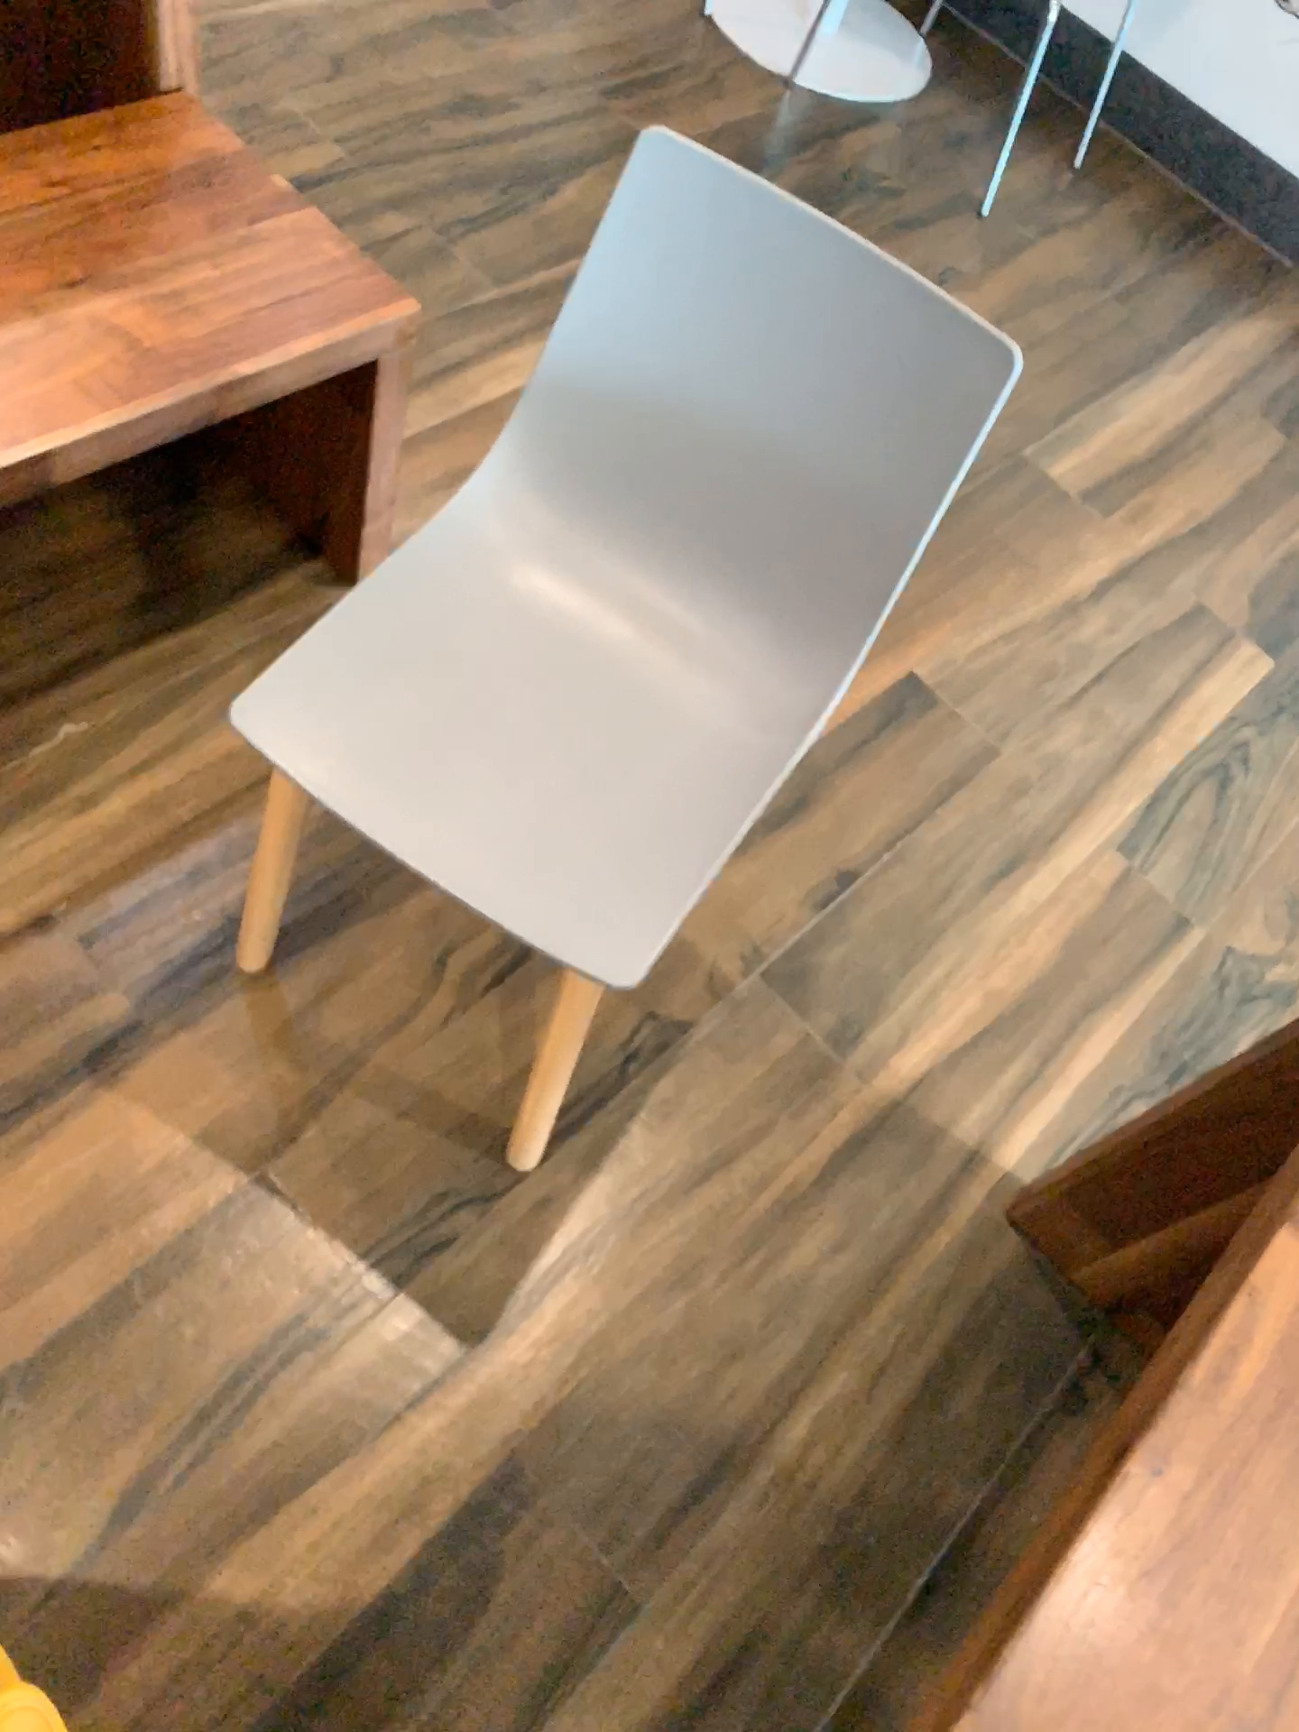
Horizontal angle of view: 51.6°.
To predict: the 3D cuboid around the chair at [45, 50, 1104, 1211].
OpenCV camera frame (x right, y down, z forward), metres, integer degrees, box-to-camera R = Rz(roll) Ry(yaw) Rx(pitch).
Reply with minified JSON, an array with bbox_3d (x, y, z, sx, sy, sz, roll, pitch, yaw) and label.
[{"bbox_3d":[-0.090,-0.167,1.199,0.500,0.696,0.563,37,56,7],"label":"chair"}]
